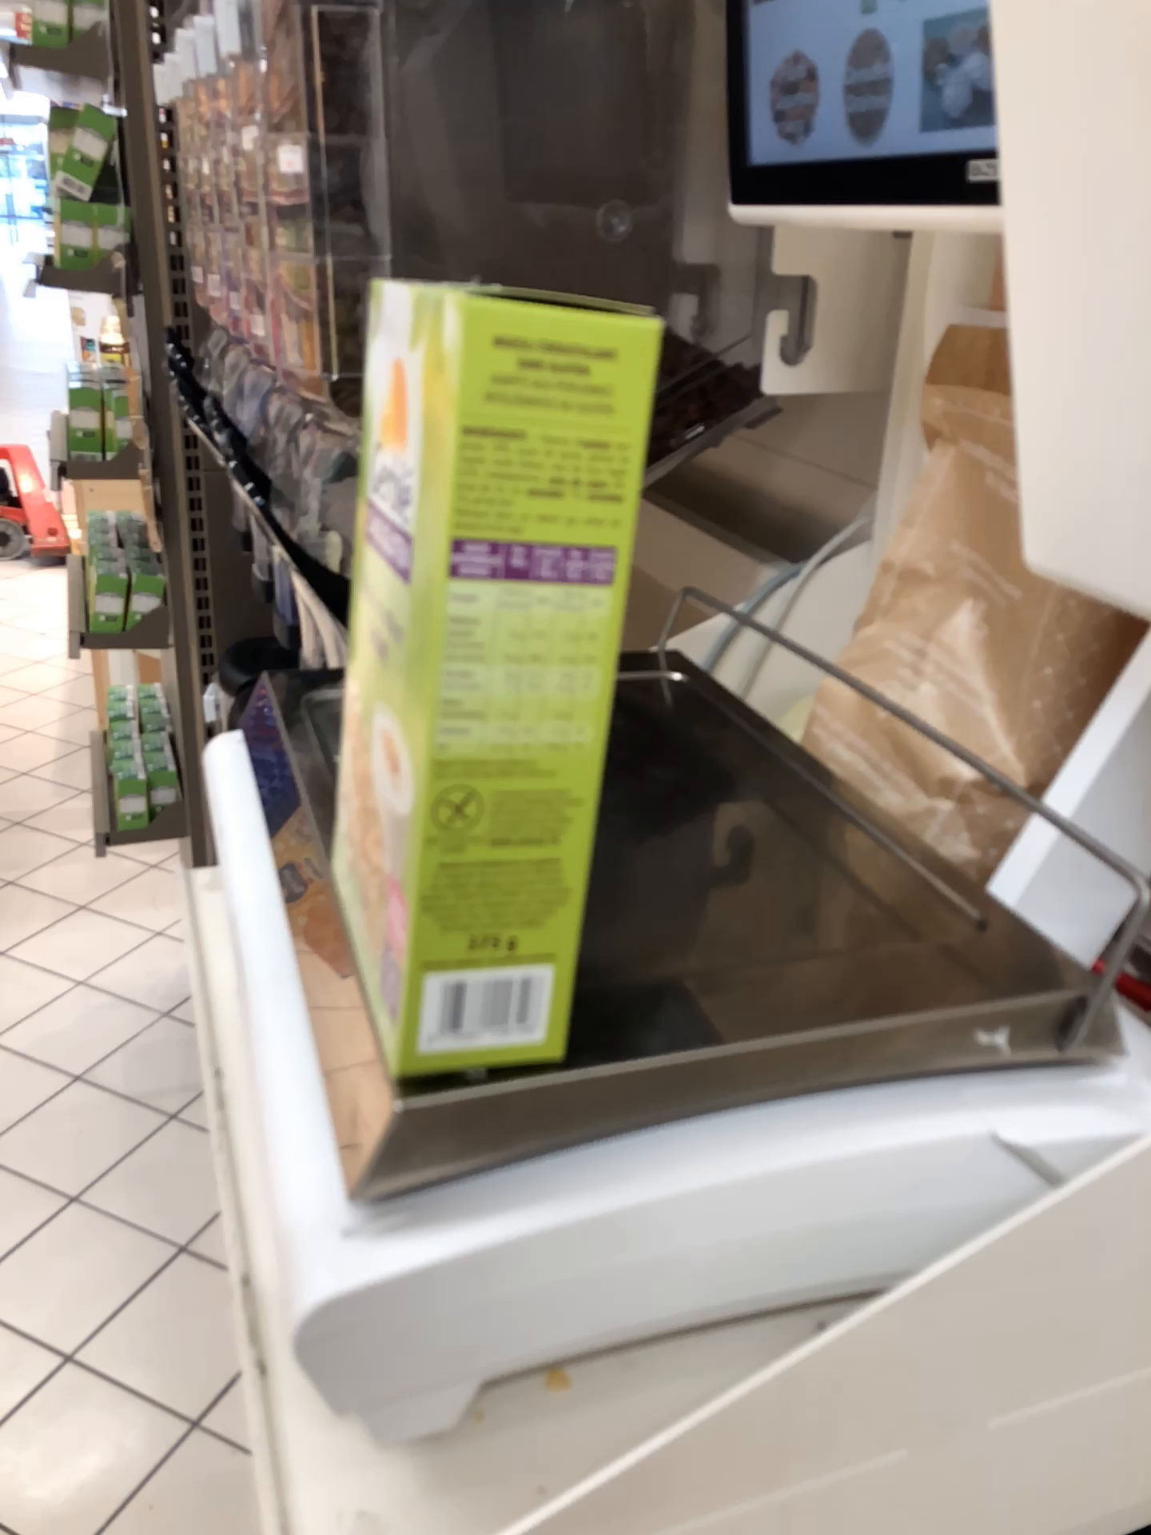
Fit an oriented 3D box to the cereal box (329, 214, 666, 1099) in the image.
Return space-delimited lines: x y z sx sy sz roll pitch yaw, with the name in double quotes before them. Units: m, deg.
"cereal box" -0.037 -0.041 0.387 0.050 0.229 0.150 1 19 -18
